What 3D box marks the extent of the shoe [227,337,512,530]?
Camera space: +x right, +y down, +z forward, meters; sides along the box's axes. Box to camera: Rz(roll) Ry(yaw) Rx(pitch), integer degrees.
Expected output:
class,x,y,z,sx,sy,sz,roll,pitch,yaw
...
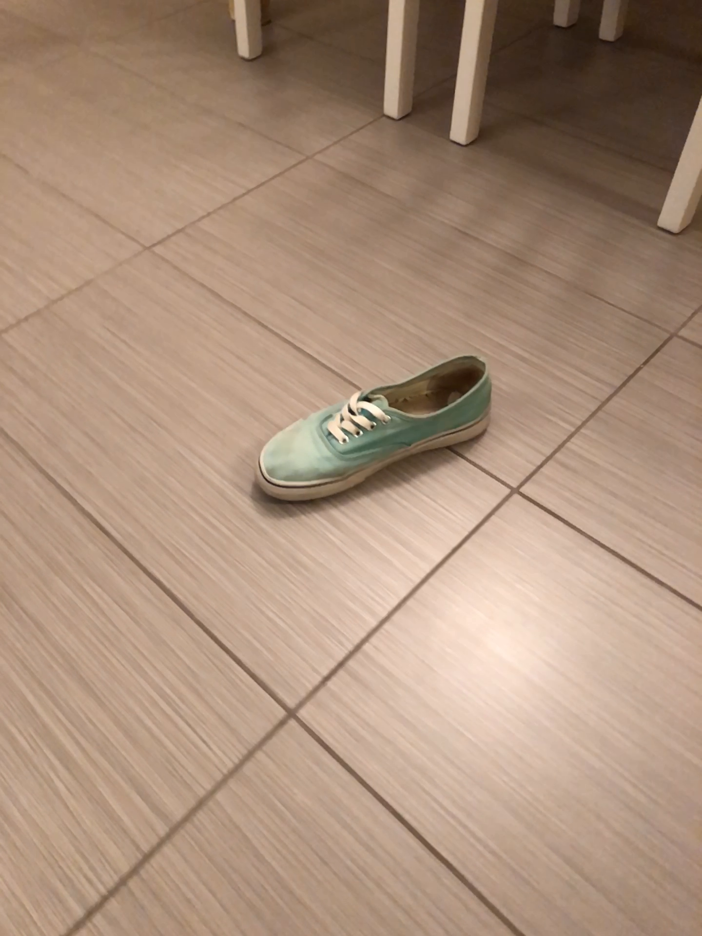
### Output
class,x,y,z,sx,sy,sz,roll,pitch,yaw
shoe,0.020,-0.037,0.769,0.260,0.080,0.090,-19,51,-12
